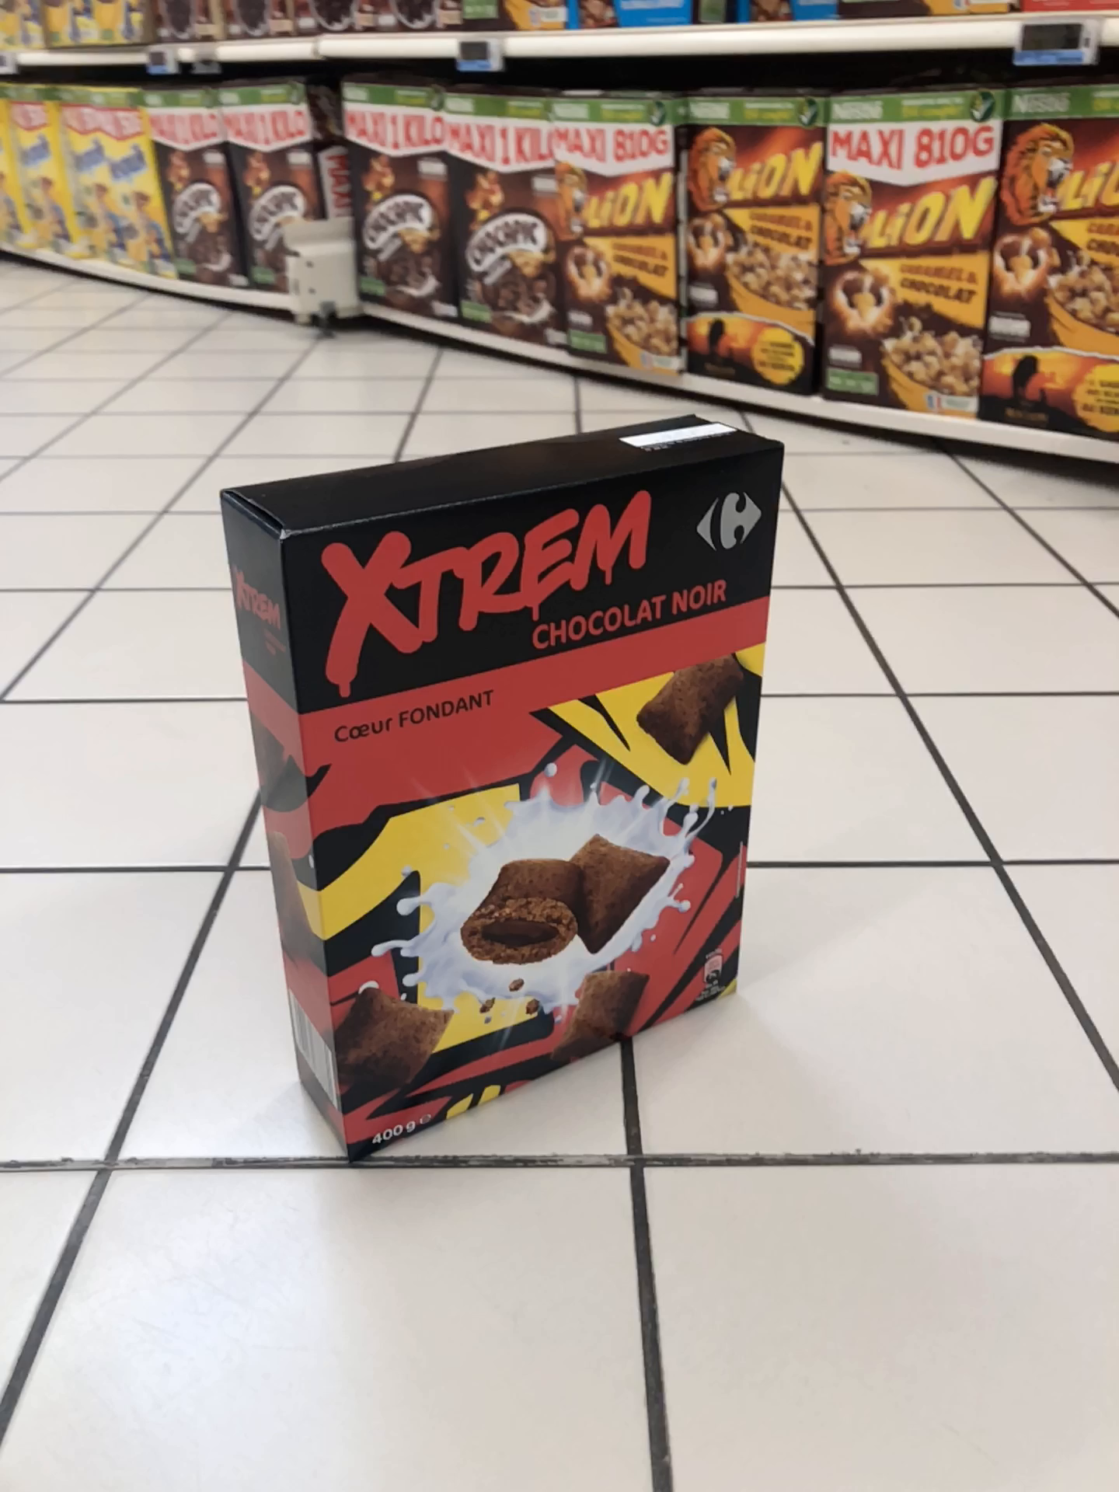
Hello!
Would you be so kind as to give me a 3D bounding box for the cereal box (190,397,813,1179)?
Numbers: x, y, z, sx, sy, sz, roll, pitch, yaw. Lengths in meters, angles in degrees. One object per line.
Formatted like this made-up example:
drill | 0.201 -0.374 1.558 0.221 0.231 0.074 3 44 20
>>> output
cereal box | -0.014 0.011 0.471 0.201 0.249 0.070 -16 31 -28
